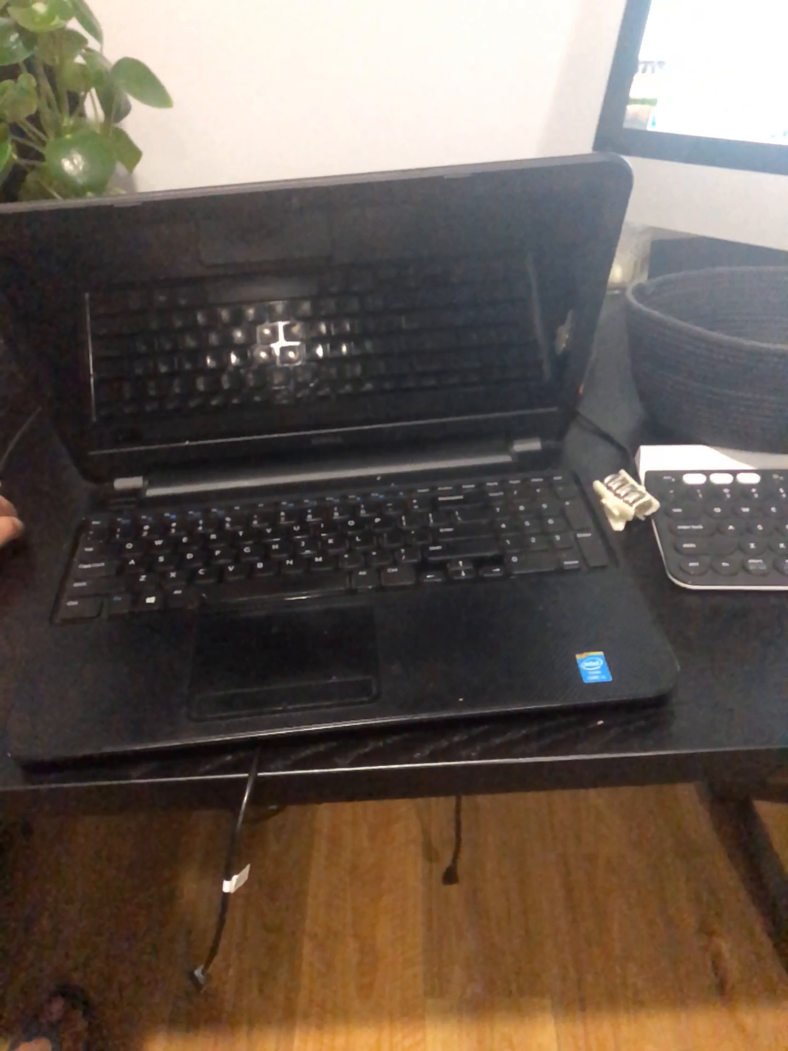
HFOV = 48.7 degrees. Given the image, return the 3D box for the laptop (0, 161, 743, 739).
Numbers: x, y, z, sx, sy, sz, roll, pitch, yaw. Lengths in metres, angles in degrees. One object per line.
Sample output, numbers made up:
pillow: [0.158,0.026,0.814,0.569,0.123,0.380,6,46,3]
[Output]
laptop: [-0.049,-0.049,0.490,0.366,0.210,0.207,-5,37,-1]
